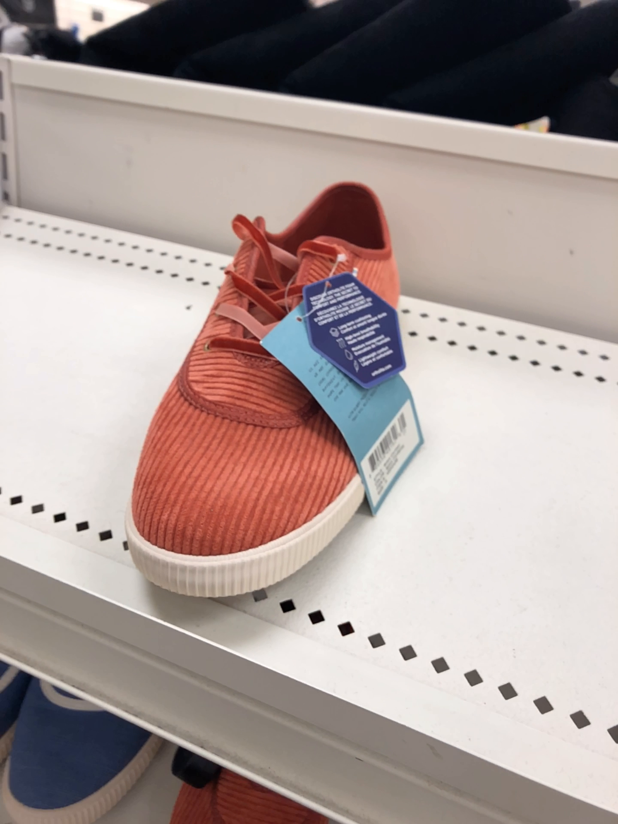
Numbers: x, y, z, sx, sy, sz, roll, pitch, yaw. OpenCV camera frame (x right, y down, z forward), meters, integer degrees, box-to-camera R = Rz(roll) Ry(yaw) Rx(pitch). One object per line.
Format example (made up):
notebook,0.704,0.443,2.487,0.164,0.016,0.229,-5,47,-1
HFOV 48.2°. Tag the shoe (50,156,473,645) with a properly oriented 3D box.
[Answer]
shoe,0.009,-0.047,0.368,0.100,0.089,0.323,13,35,13
